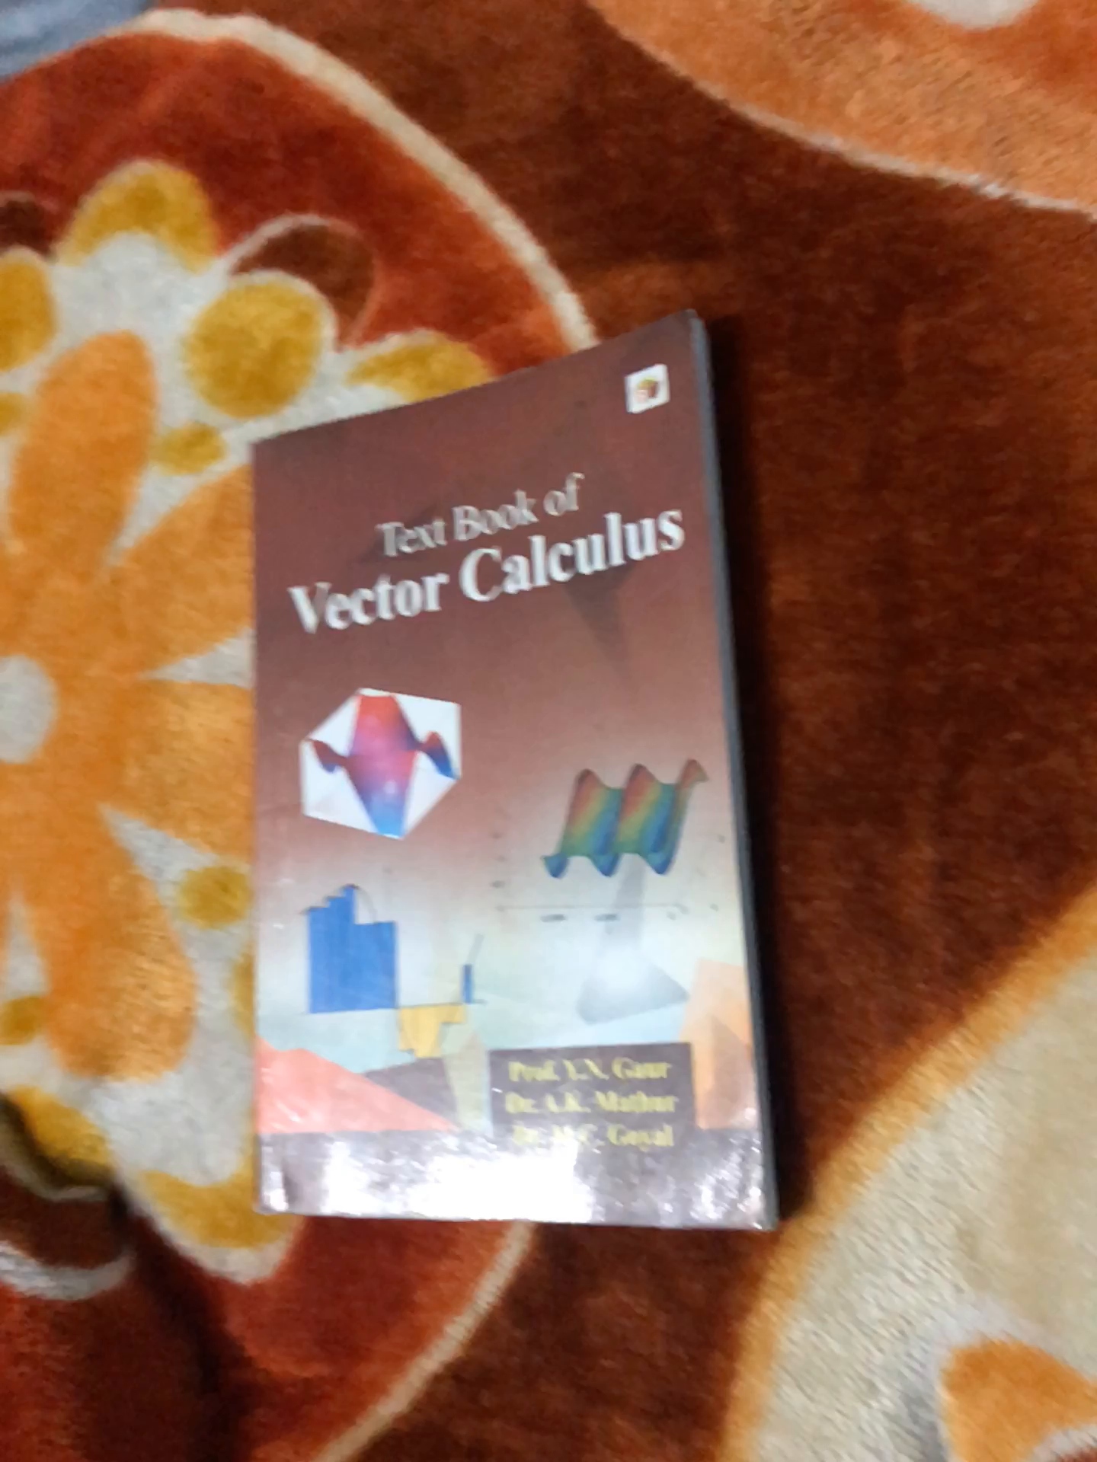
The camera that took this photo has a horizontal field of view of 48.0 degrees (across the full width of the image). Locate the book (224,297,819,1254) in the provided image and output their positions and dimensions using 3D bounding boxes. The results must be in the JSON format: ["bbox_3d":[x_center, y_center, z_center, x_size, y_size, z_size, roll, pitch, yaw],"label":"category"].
[{"bbox_3d":[-0.017,0.013,0.303,0.140,0.020,0.210,-10,76,24],"label":"book"}]
